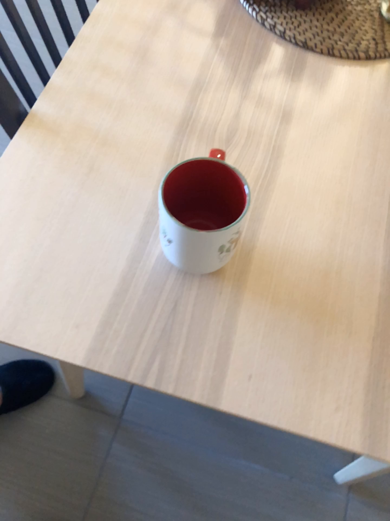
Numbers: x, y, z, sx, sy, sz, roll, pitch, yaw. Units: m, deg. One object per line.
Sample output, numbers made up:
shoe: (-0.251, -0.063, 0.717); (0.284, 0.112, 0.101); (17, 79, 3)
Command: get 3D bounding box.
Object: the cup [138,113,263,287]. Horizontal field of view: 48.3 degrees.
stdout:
cup: (0.007, -0.063, 0.473); (0.100, 0.100, 0.140); (11, 64, 2)
